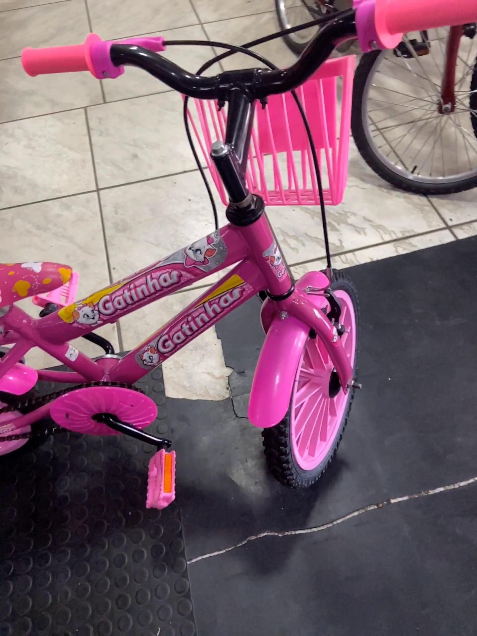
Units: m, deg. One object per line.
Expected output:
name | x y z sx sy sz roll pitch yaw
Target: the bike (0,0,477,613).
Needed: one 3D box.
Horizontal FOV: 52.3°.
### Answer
bike | -0.246 -0.016 0.709 0.939 0.789 0.467 -12 55 -6
